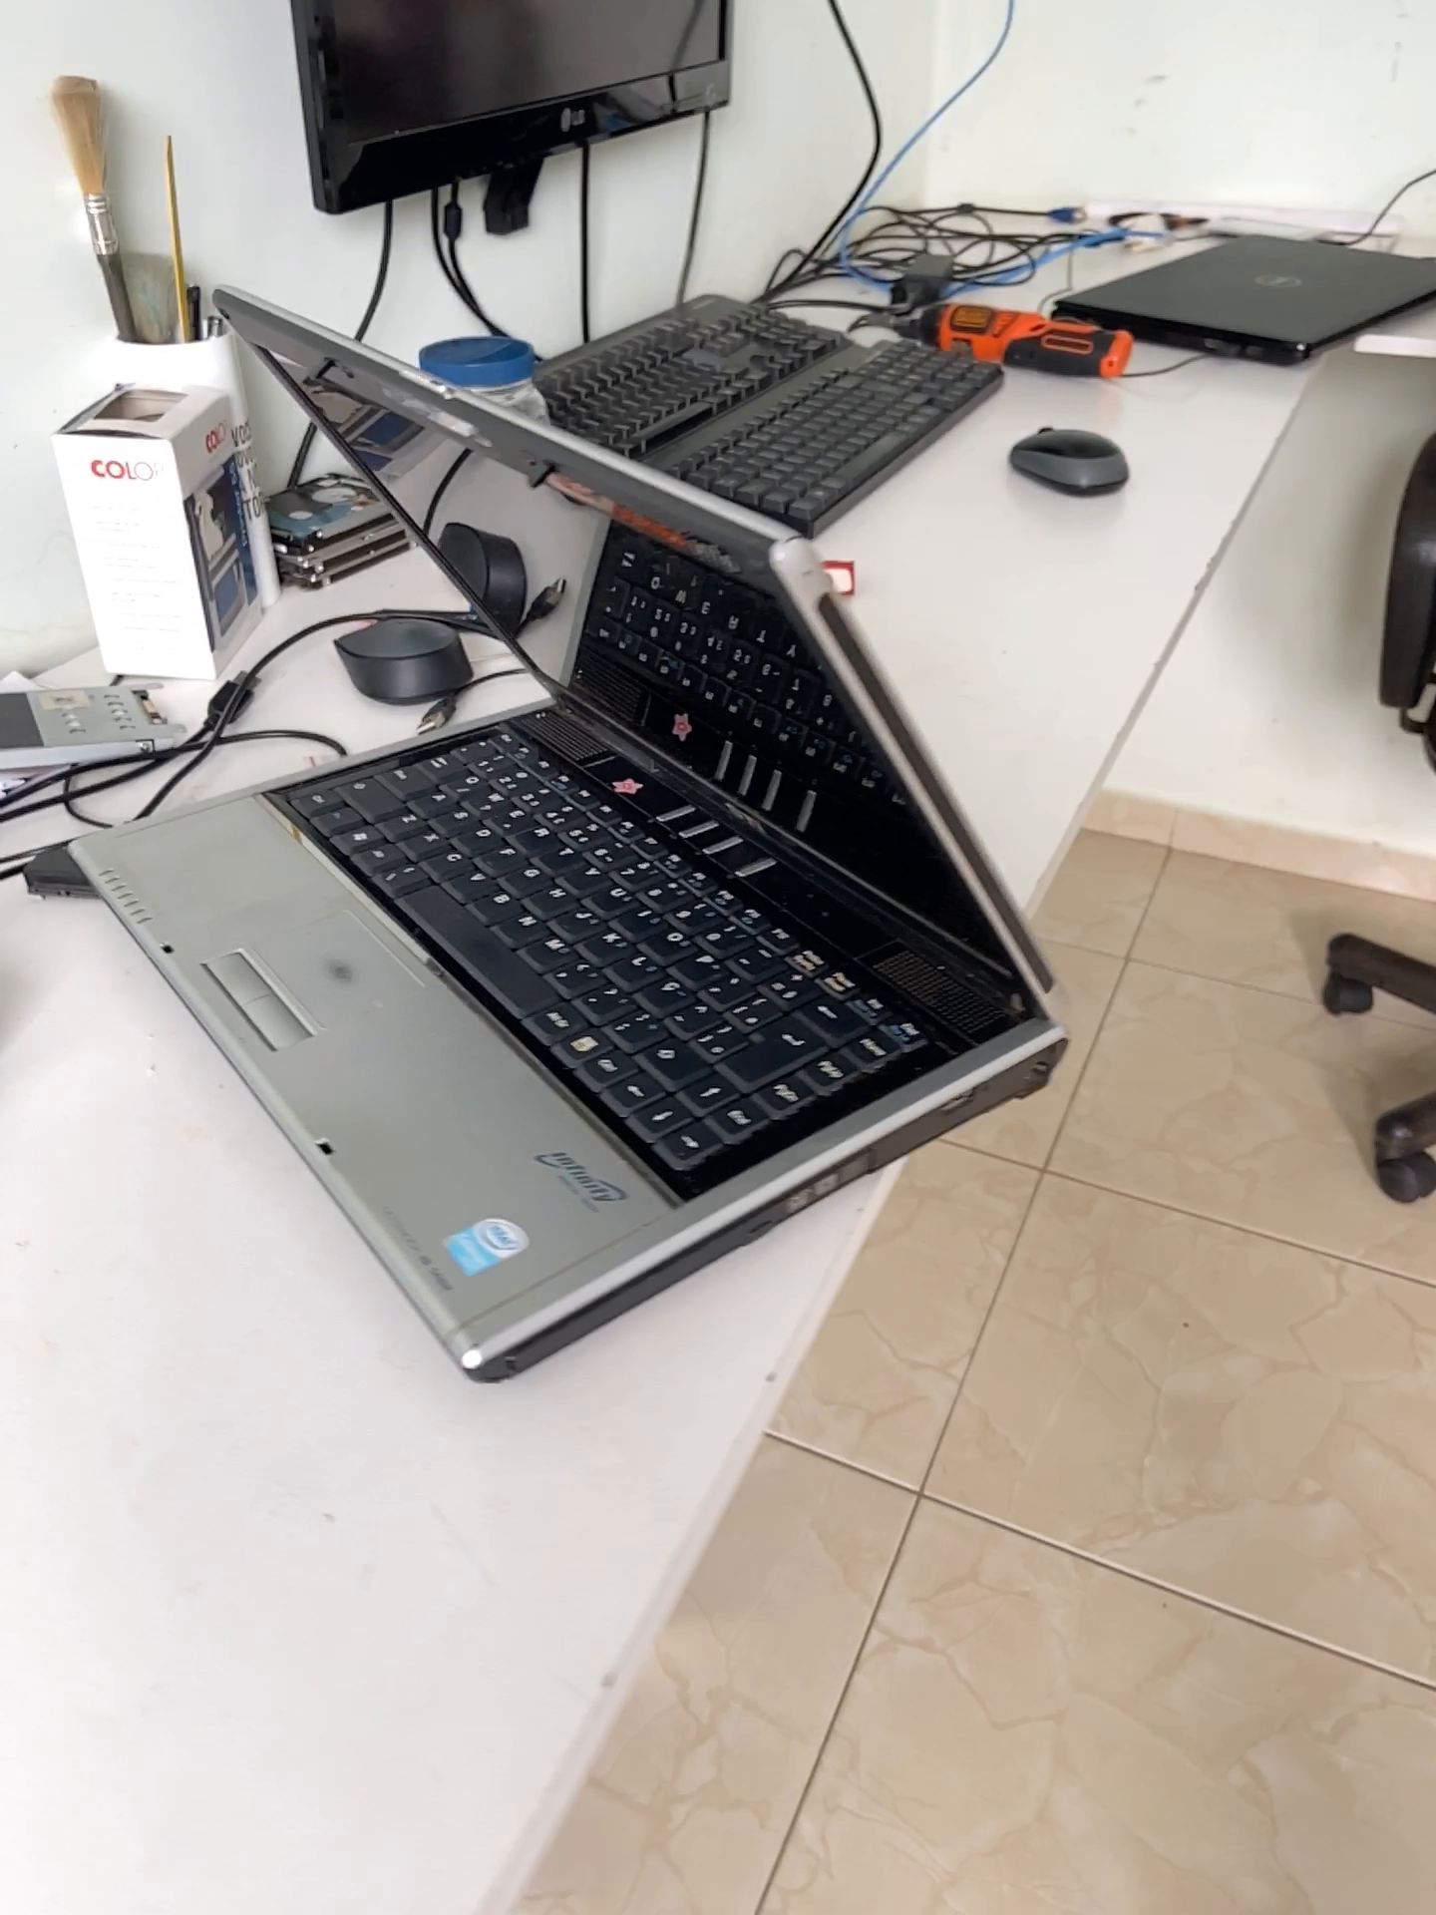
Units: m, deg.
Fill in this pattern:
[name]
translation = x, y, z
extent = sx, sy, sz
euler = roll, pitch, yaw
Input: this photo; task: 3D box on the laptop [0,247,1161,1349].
[laptop]
translation = -0.075, -0.096, 0.508
extent = 0.236, 0.210, 0.339
euler = -23, 41, -30
